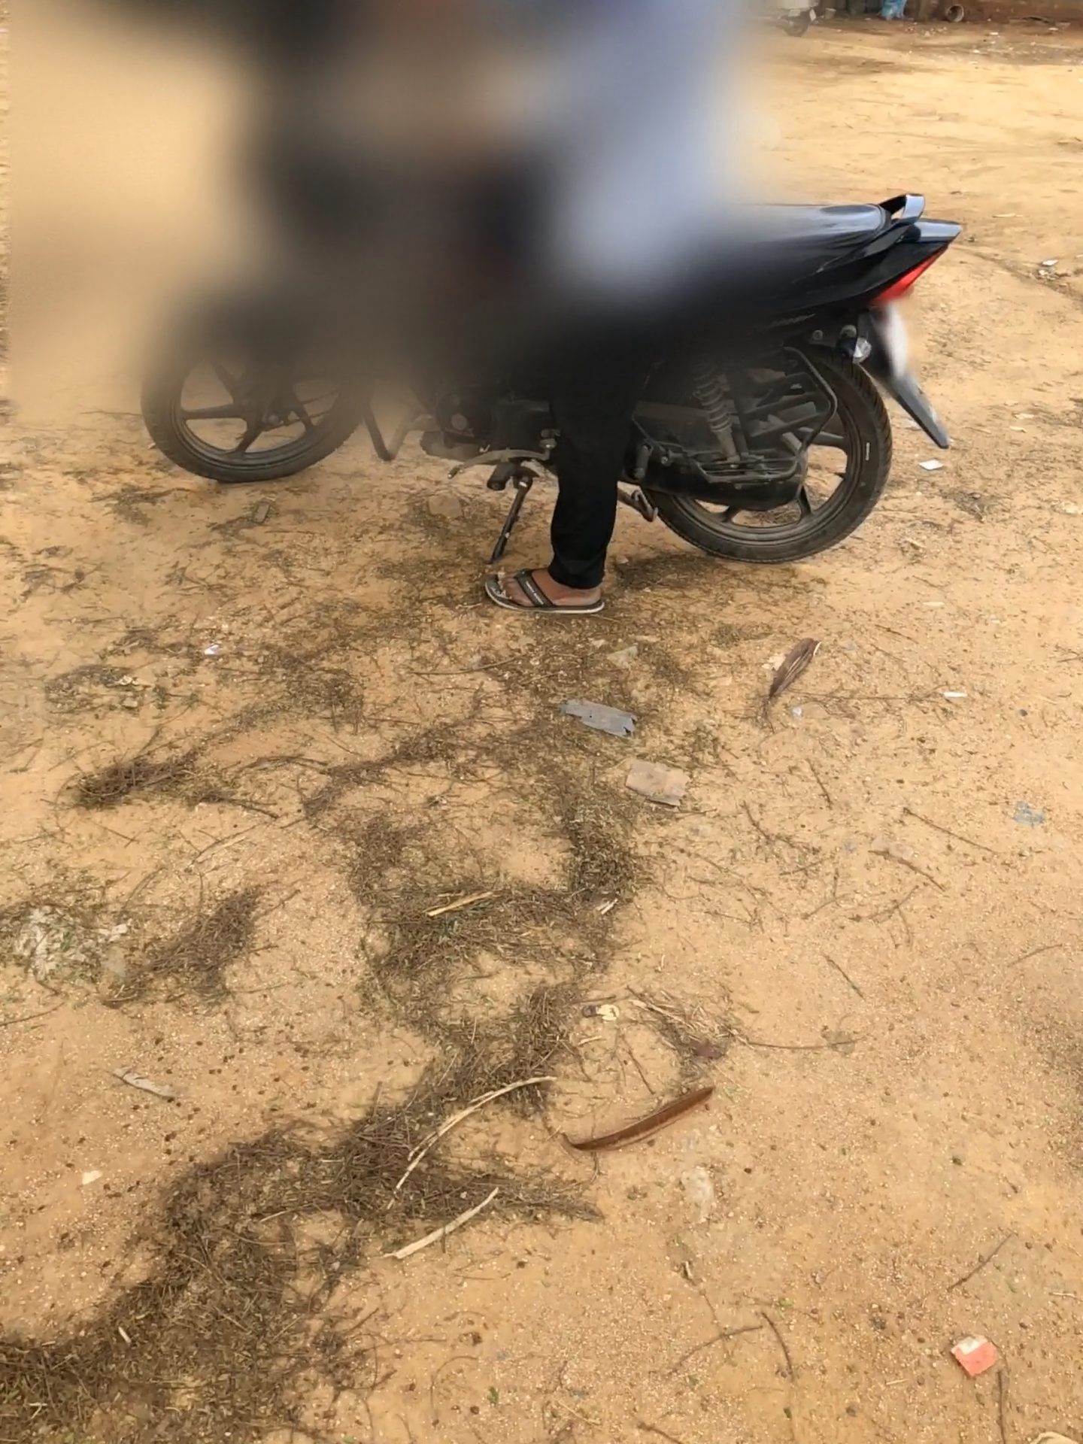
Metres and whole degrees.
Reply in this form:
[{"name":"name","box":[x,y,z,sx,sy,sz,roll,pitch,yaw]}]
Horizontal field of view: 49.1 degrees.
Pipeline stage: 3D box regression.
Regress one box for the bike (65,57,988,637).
[{"name":"bike","box":[-0.049,-0.792,2.456,1.560,0.913,0.673,6,33,13]}]
